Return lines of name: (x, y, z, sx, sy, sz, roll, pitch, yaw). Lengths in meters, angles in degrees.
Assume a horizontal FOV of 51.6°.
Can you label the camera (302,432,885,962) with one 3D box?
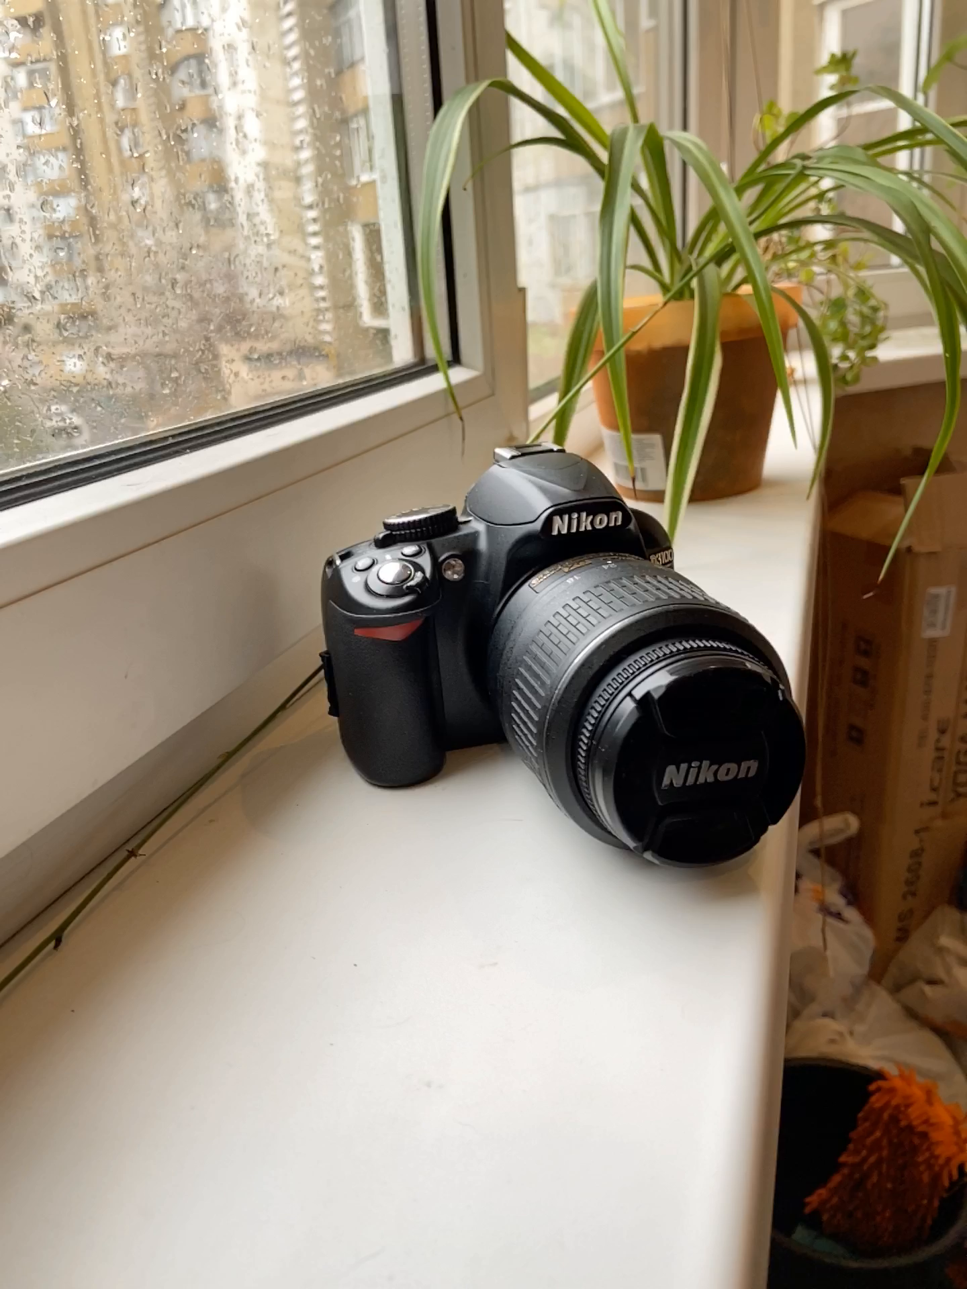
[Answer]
camera: (0.018, -0.003, 0.308, 0.122, 0.092, 0.159, -9, 21, -13)
